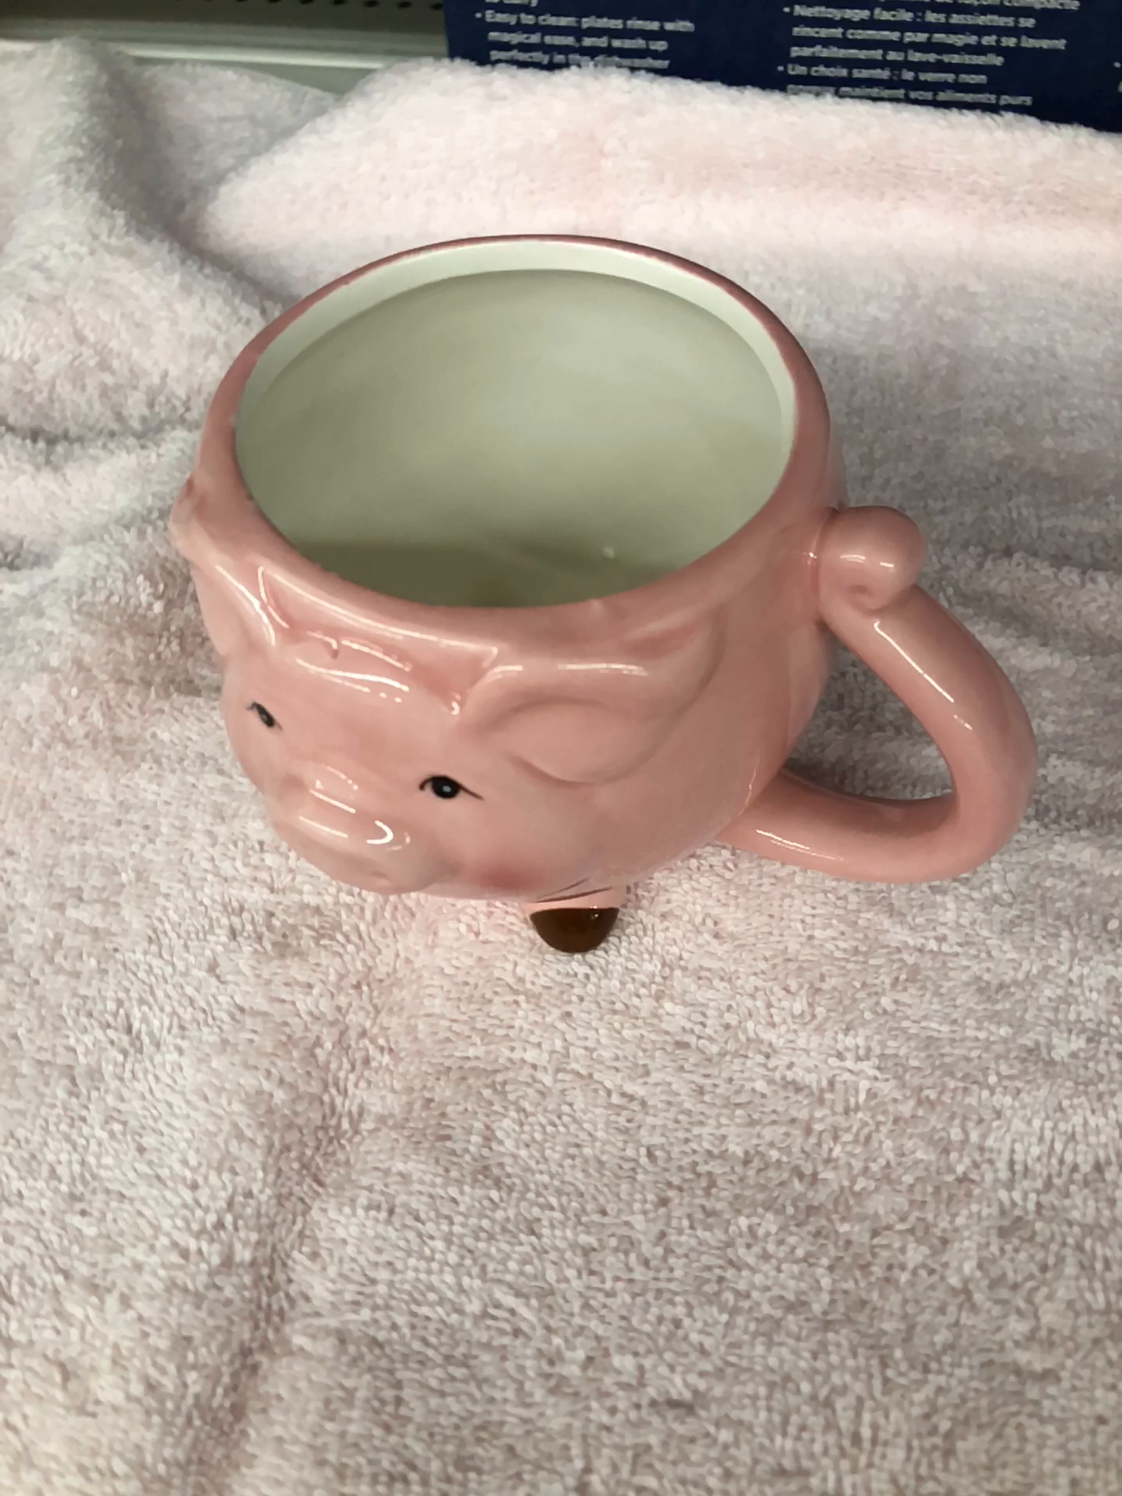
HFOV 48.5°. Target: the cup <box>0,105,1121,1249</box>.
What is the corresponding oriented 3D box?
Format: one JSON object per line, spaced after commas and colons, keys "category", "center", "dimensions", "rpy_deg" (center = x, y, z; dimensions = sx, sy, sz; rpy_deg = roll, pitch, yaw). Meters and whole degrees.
{"category": "cup", "center": [0.009, -0.016, 0.197], "dimensions": [0.150, 0.090, 0.100], "rpy_deg": [24, 60, 18]}
